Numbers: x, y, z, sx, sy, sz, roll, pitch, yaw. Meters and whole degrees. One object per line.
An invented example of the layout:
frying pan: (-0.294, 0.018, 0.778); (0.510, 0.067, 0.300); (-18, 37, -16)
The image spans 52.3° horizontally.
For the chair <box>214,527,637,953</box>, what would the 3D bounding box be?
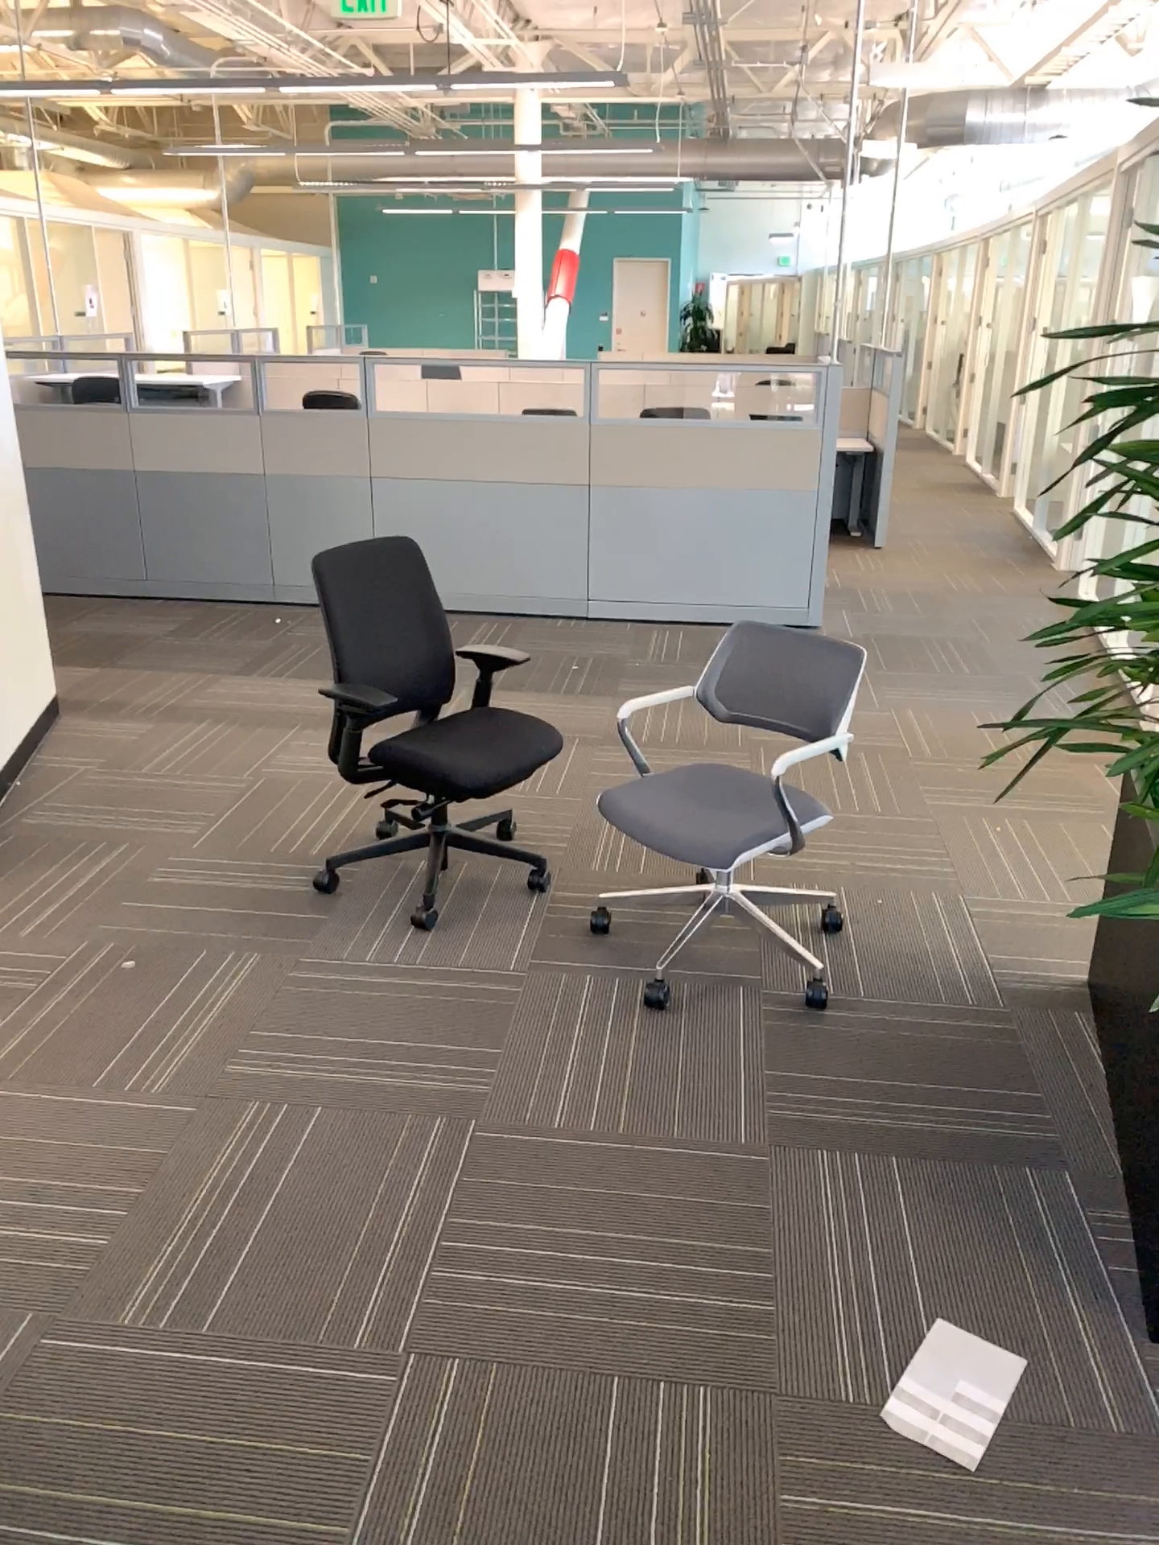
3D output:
chair: (-0.430, -0.165, 3.421); (0.853, 0.885, 0.801); (19, 27, 39)

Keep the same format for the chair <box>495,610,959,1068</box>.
chair: (0.353, 0.092, 2.994); (0.803, 0.756, 0.791); (20, 28, 40)
